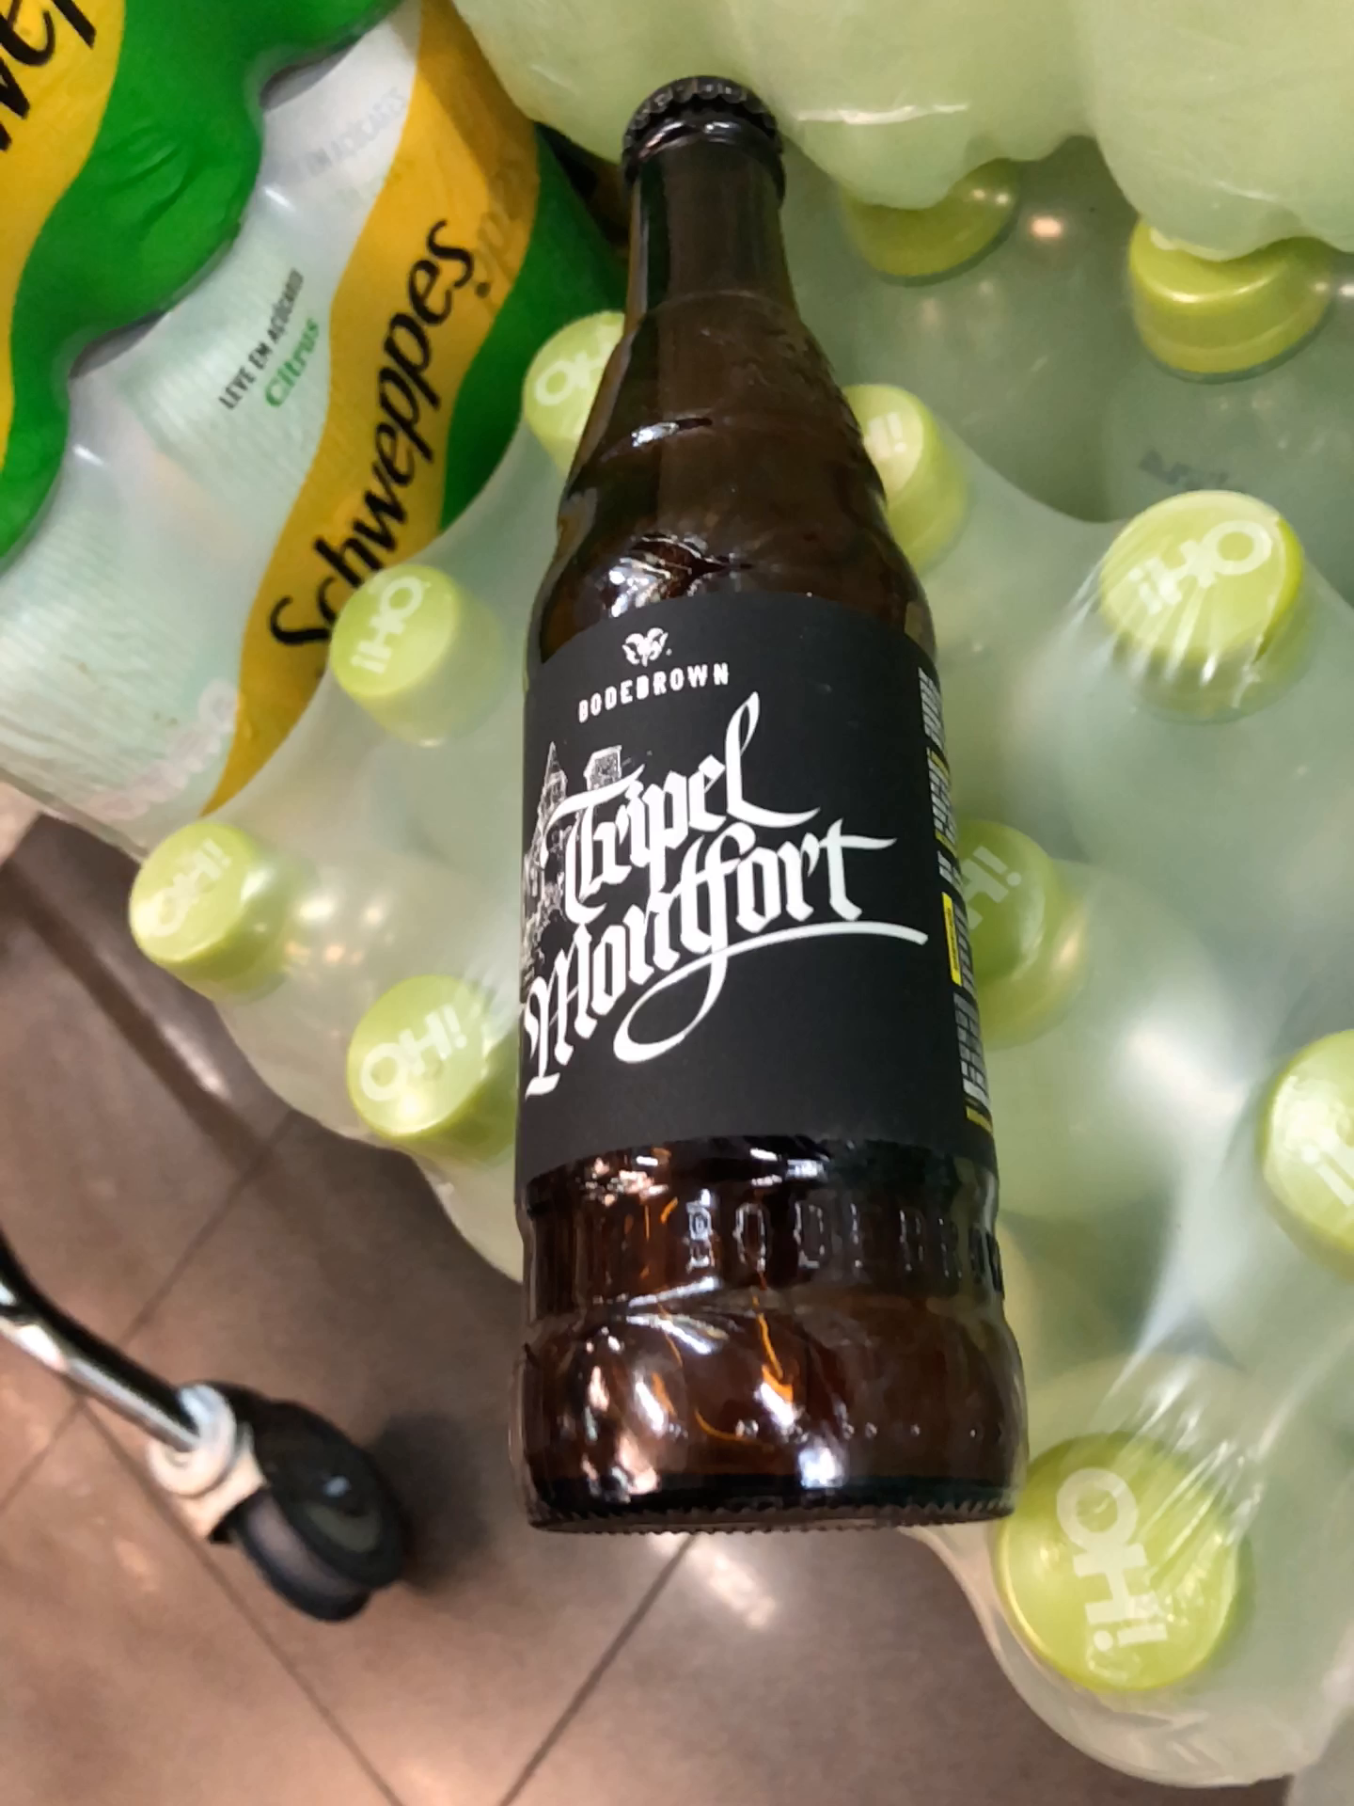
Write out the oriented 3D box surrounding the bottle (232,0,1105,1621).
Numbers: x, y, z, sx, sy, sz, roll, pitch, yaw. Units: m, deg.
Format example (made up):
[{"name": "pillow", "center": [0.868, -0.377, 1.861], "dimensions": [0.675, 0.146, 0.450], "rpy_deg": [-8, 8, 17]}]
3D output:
[{"name": "bottle", "center": [0.002, -0.041, 0.208], "dimensions": [0.070, 0.070, 0.251], "rpy_deg": [-10, 65, 20]}]
